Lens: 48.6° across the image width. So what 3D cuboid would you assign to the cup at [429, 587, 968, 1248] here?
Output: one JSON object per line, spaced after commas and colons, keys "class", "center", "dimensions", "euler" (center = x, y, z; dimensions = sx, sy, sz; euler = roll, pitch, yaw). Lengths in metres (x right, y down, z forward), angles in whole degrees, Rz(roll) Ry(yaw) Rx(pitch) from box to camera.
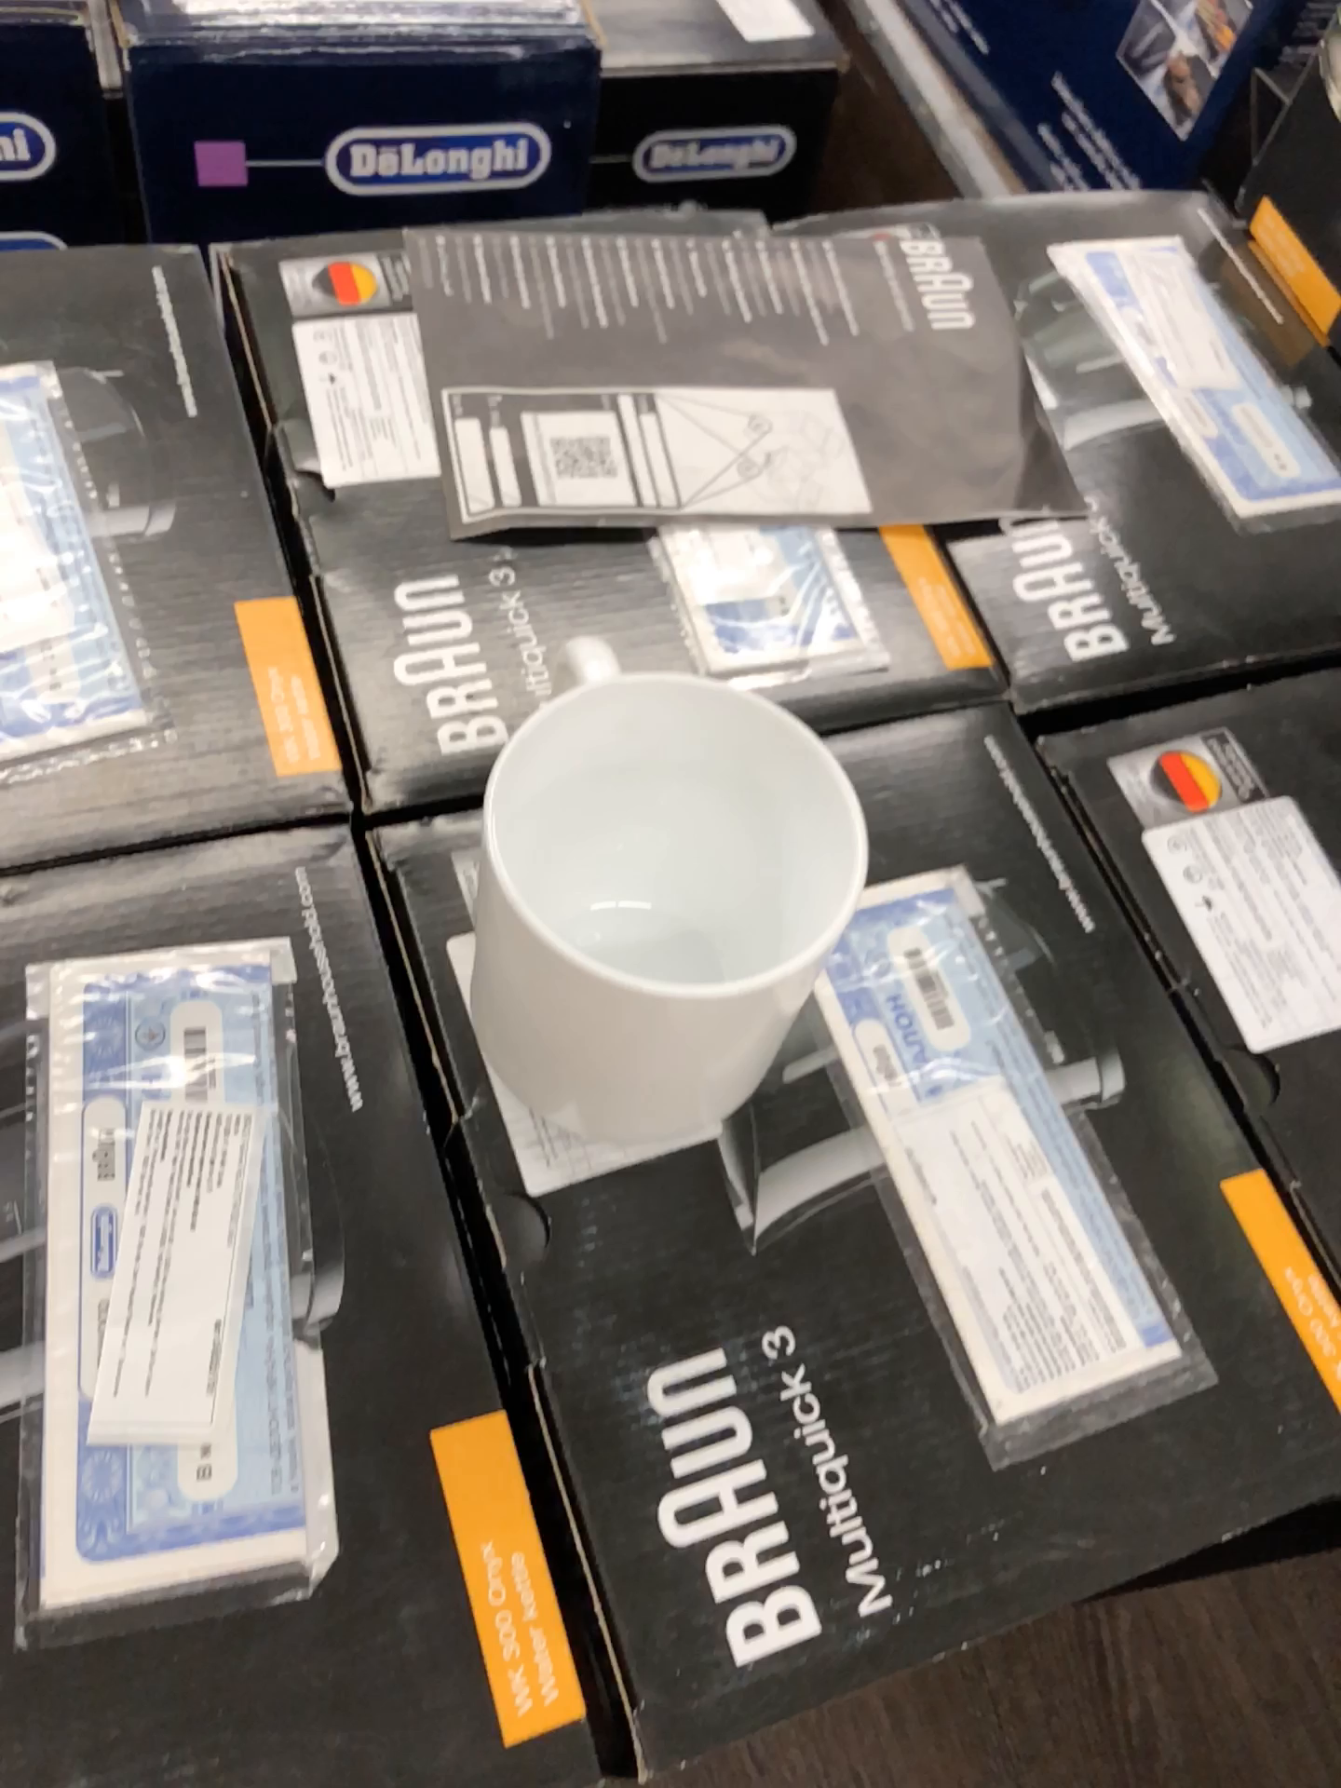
{"class": "cup", "center": [-0.003, 0.005, 0.341], "dimensions": [0.082, 0.091, 0.111], "euler": [-7, 58, -16]}
